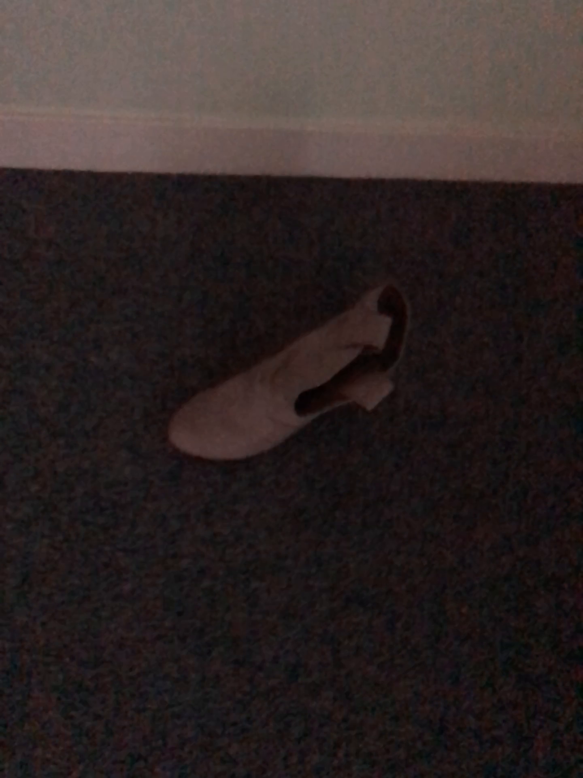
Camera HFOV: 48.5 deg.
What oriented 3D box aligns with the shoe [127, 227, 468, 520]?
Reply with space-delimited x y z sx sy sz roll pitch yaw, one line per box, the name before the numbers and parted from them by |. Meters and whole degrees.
shoe | -0.001 0.001 0.620 0.240 0.220 0.130 -28 79 -12
